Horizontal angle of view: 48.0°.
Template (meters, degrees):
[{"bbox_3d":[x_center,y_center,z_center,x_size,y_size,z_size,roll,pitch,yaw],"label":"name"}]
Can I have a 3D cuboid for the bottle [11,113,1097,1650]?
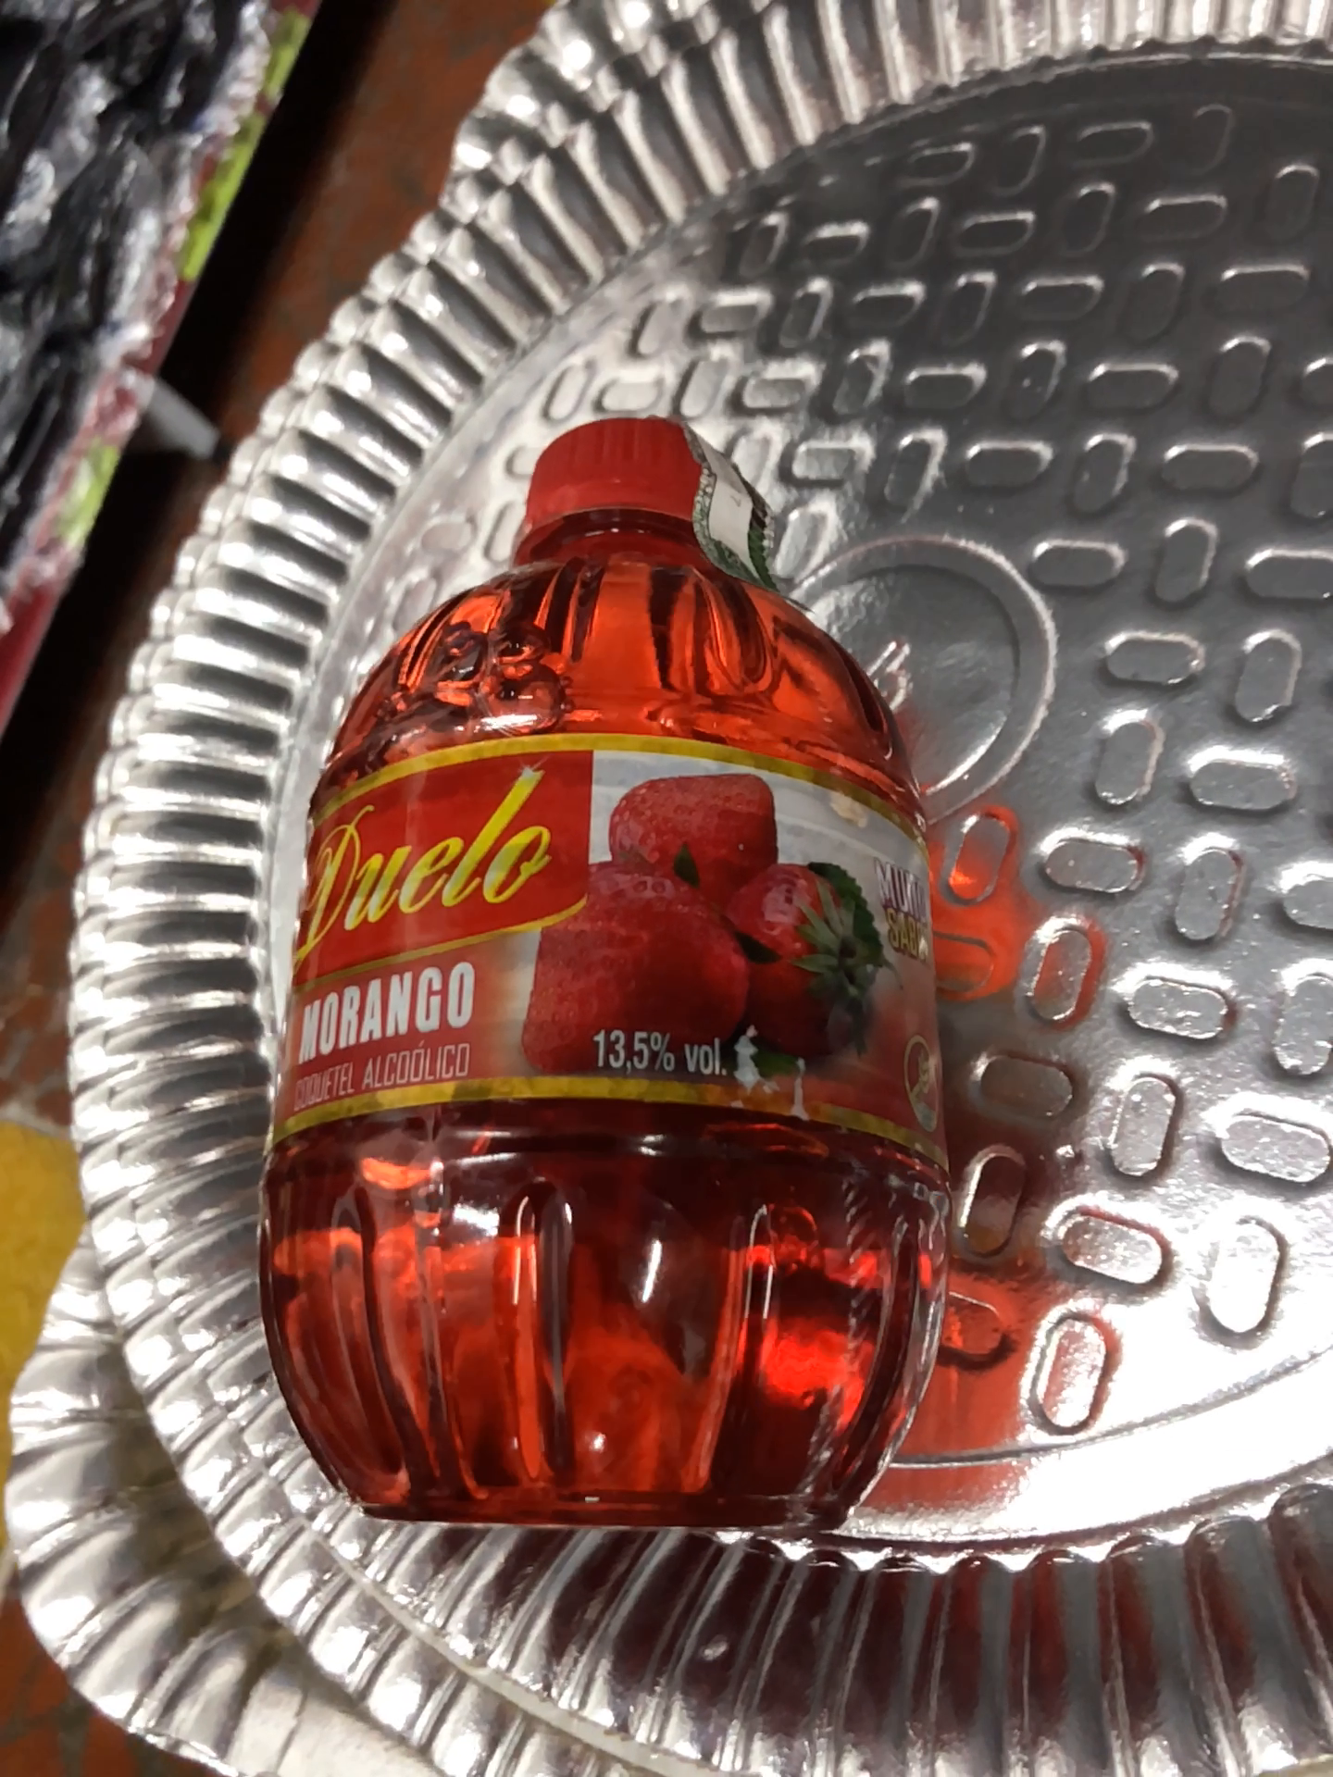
[{"bbox_3d":[-0.008,0.004,0.184,0.090,0.070,0.150,-11,66,26],"label":"bottle"}]
